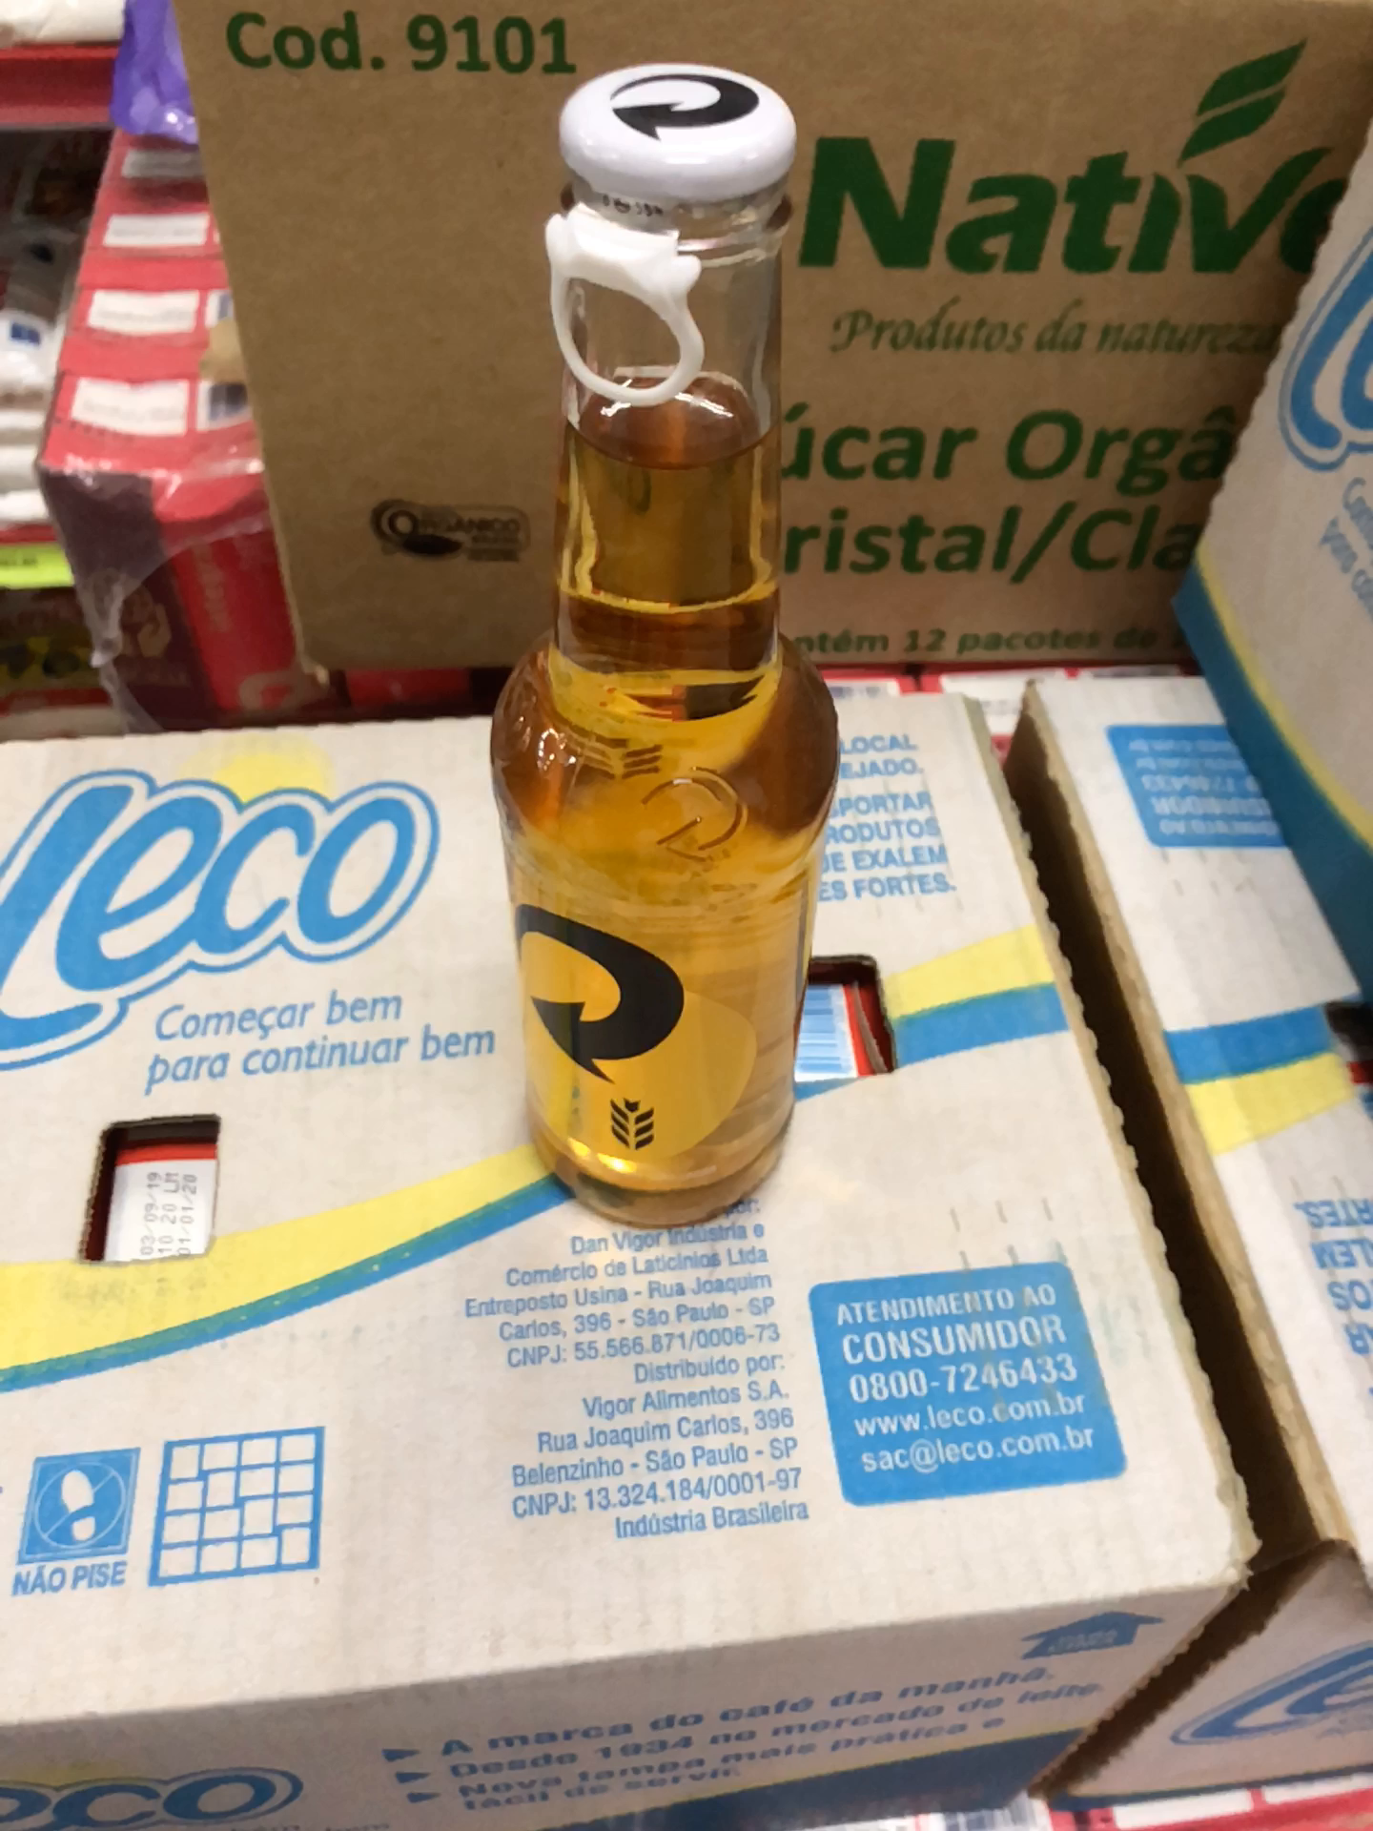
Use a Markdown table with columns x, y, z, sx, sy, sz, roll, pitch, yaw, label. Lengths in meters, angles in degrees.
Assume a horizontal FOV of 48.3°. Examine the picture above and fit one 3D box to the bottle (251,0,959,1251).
| x | y | z | sx | sy | sz | roll | pitch | yaw | label |
| --- | --- | --- | --- | --- | --- | --- | --- | --- | --- |
| -0.010 | -0.031 | 0.250 | 0.060 | 0.209 | 0.060 | 1 | 50 | -2 | bottle |
